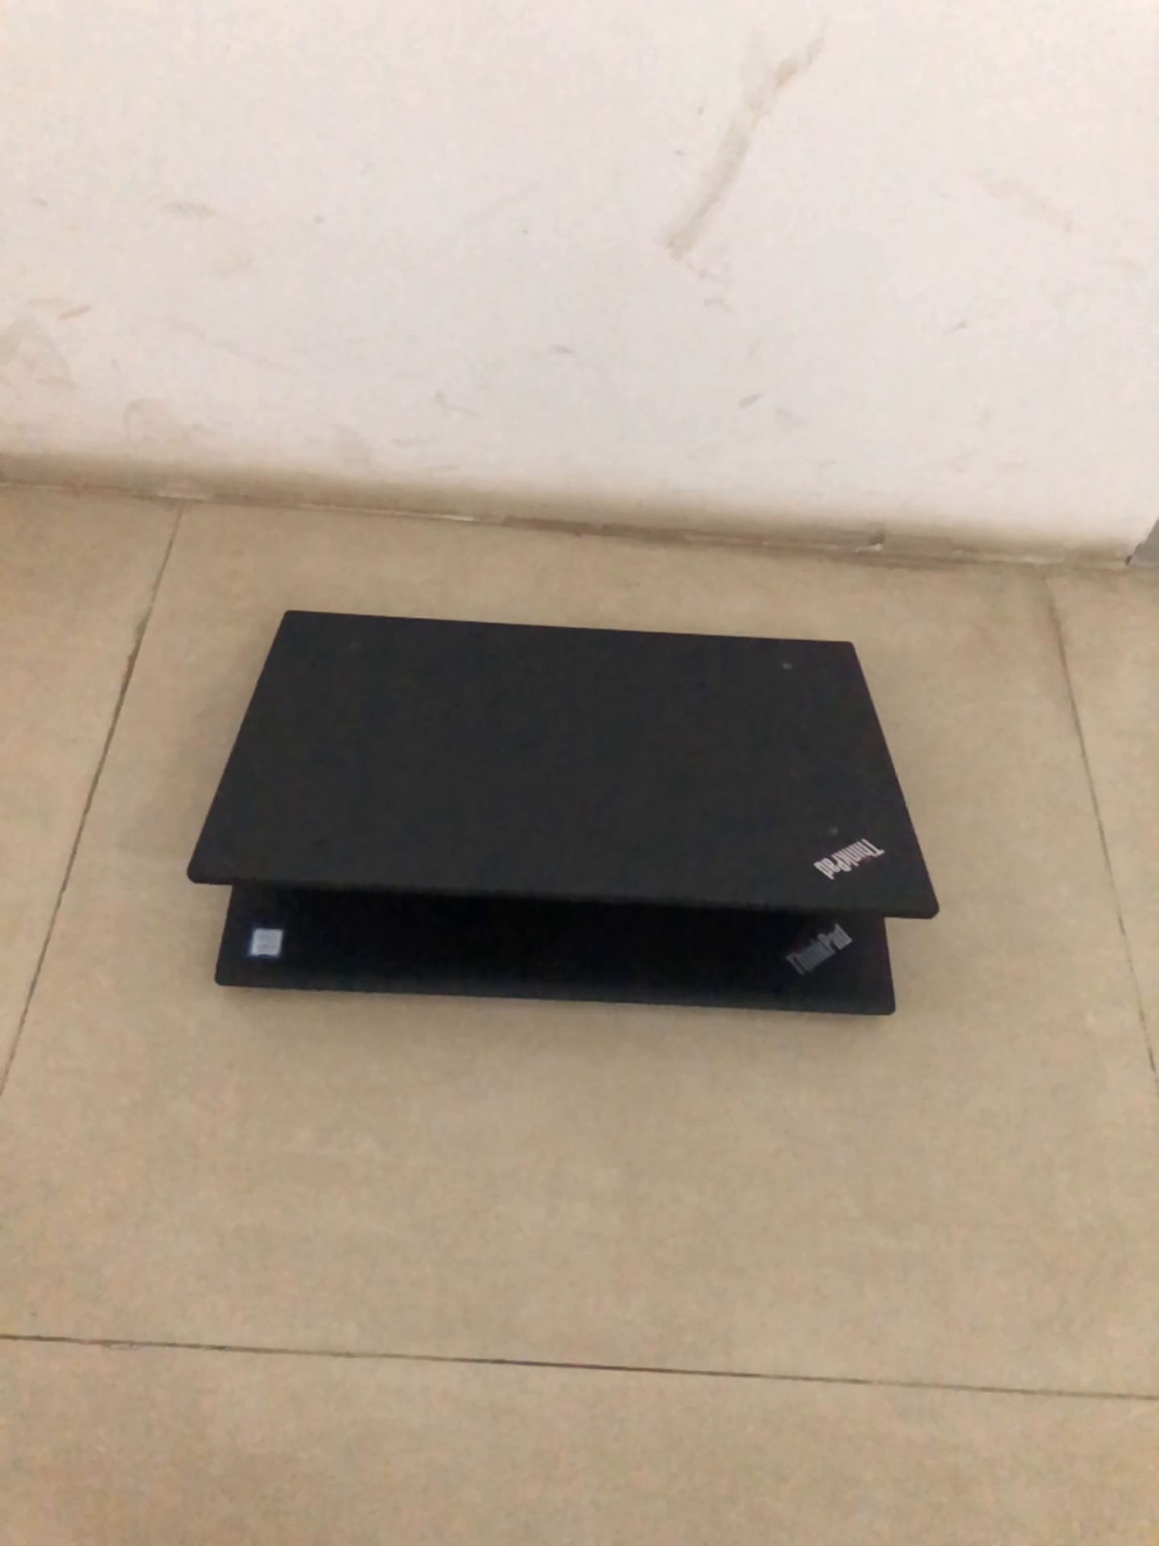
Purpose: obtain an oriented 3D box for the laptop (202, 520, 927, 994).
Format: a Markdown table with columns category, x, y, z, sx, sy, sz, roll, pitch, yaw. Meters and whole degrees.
| category | x | y | z | sx | sy | sz | roll | pitch | yaw |
| --- | --- | --- | --- | --- | --- | --- | --- | --- | --- |
| laptop | -0.005 | -0.014 | 0.702 | 0.349 | 0.071 | 0.237 | 3 | 58 | -1 |
